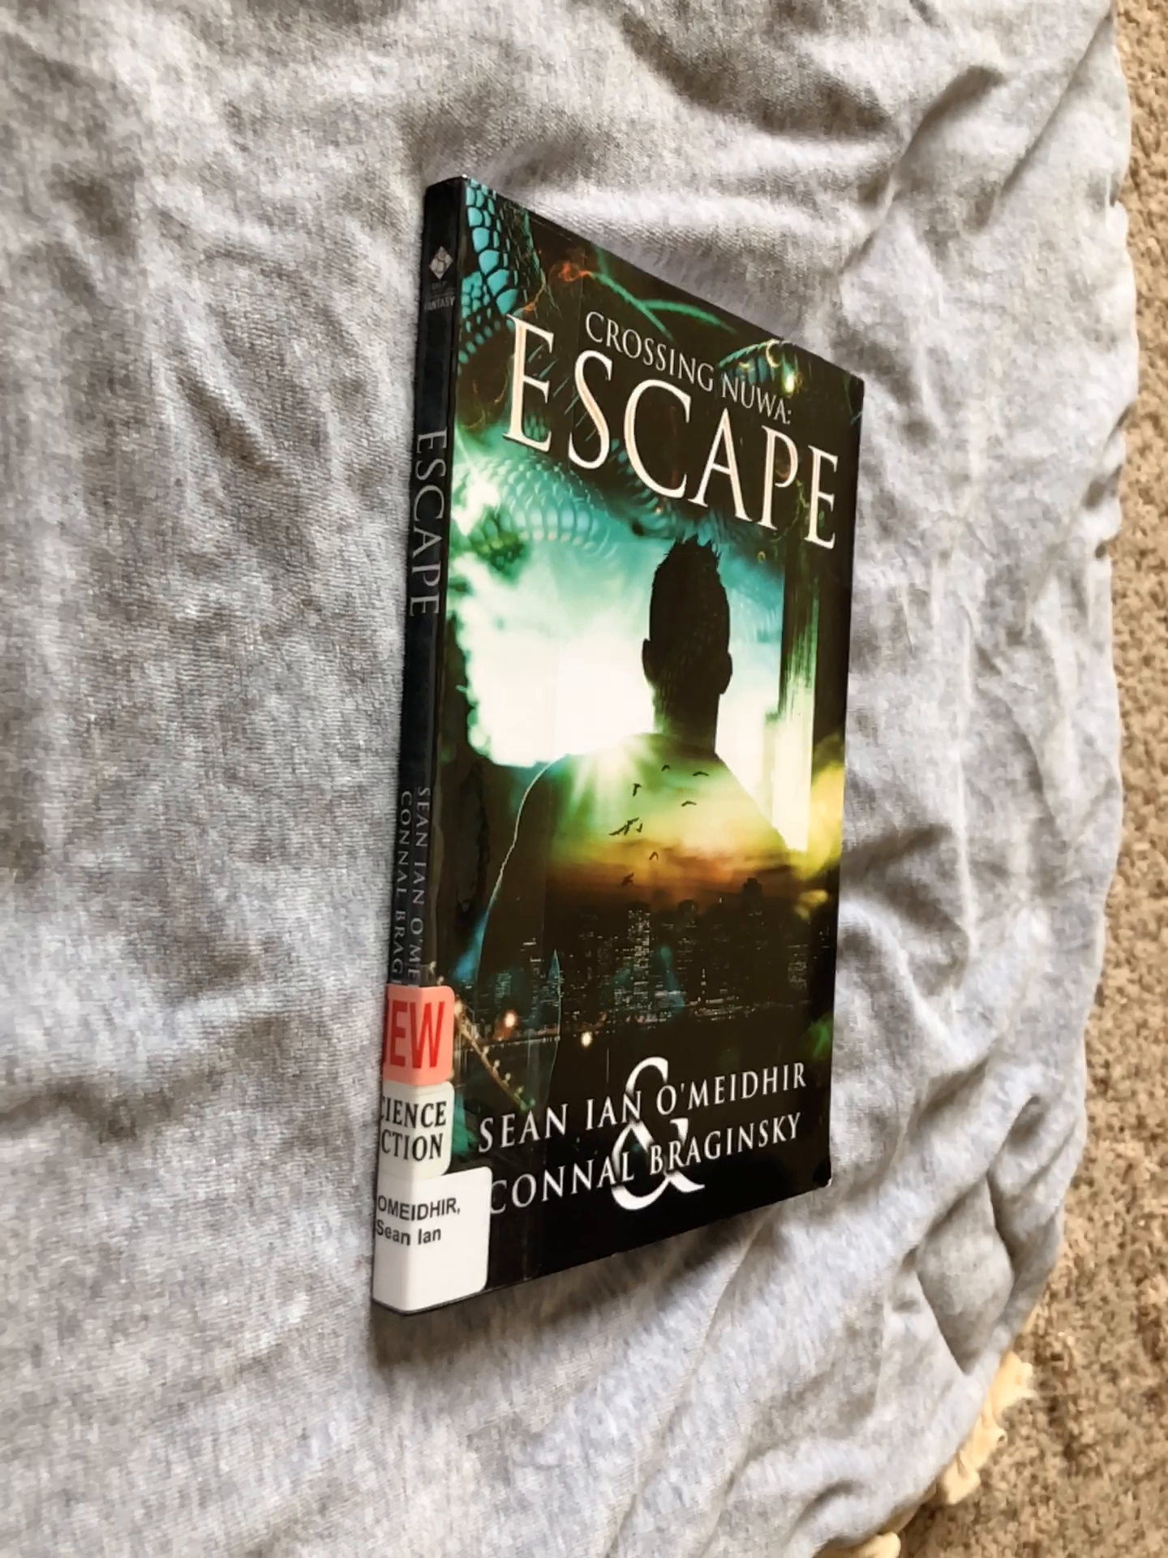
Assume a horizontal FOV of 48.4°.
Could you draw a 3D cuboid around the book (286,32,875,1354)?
[{"bbox_3d":[0.011,-0.014,0.314,0.161,0.030,0.250,5,87,-47],"label":"book"}]
